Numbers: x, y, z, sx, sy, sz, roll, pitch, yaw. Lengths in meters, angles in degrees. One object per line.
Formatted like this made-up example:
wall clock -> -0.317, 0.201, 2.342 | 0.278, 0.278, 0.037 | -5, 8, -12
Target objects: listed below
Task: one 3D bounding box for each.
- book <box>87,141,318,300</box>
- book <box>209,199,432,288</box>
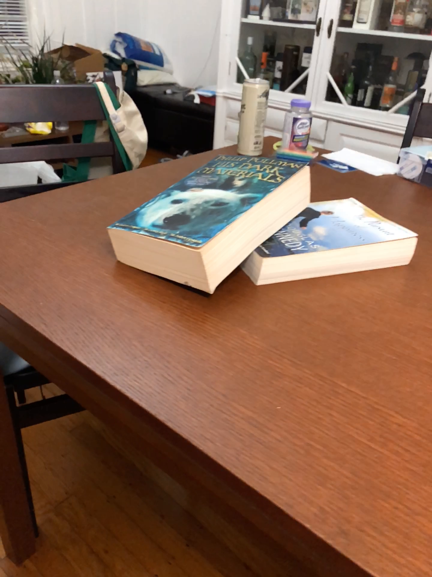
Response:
book -> -0.006, -0.102, 0.592 | 0.170, 0.060, 0.241 | 19, 45, 33
book -> 0.130, -0.070, 0.641 | 0.240, 0.040, 0.171 | -8, 26, -15
